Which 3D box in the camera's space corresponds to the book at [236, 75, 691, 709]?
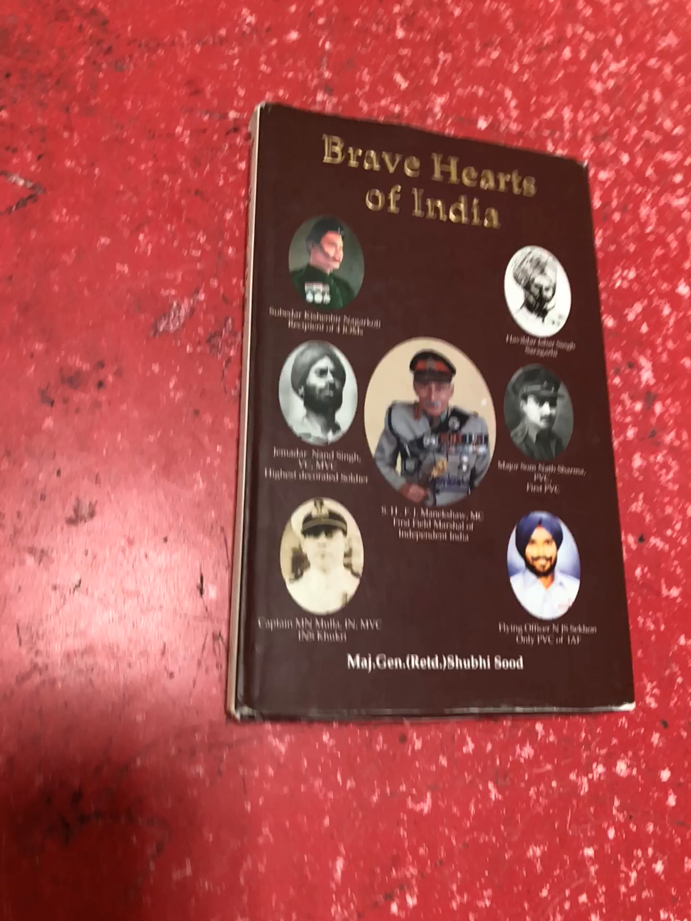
[{"bbox_3d":[0.041,-0.025,0.283,0.150,0.030,0.220,4,74,-13],"label":"book"}]
